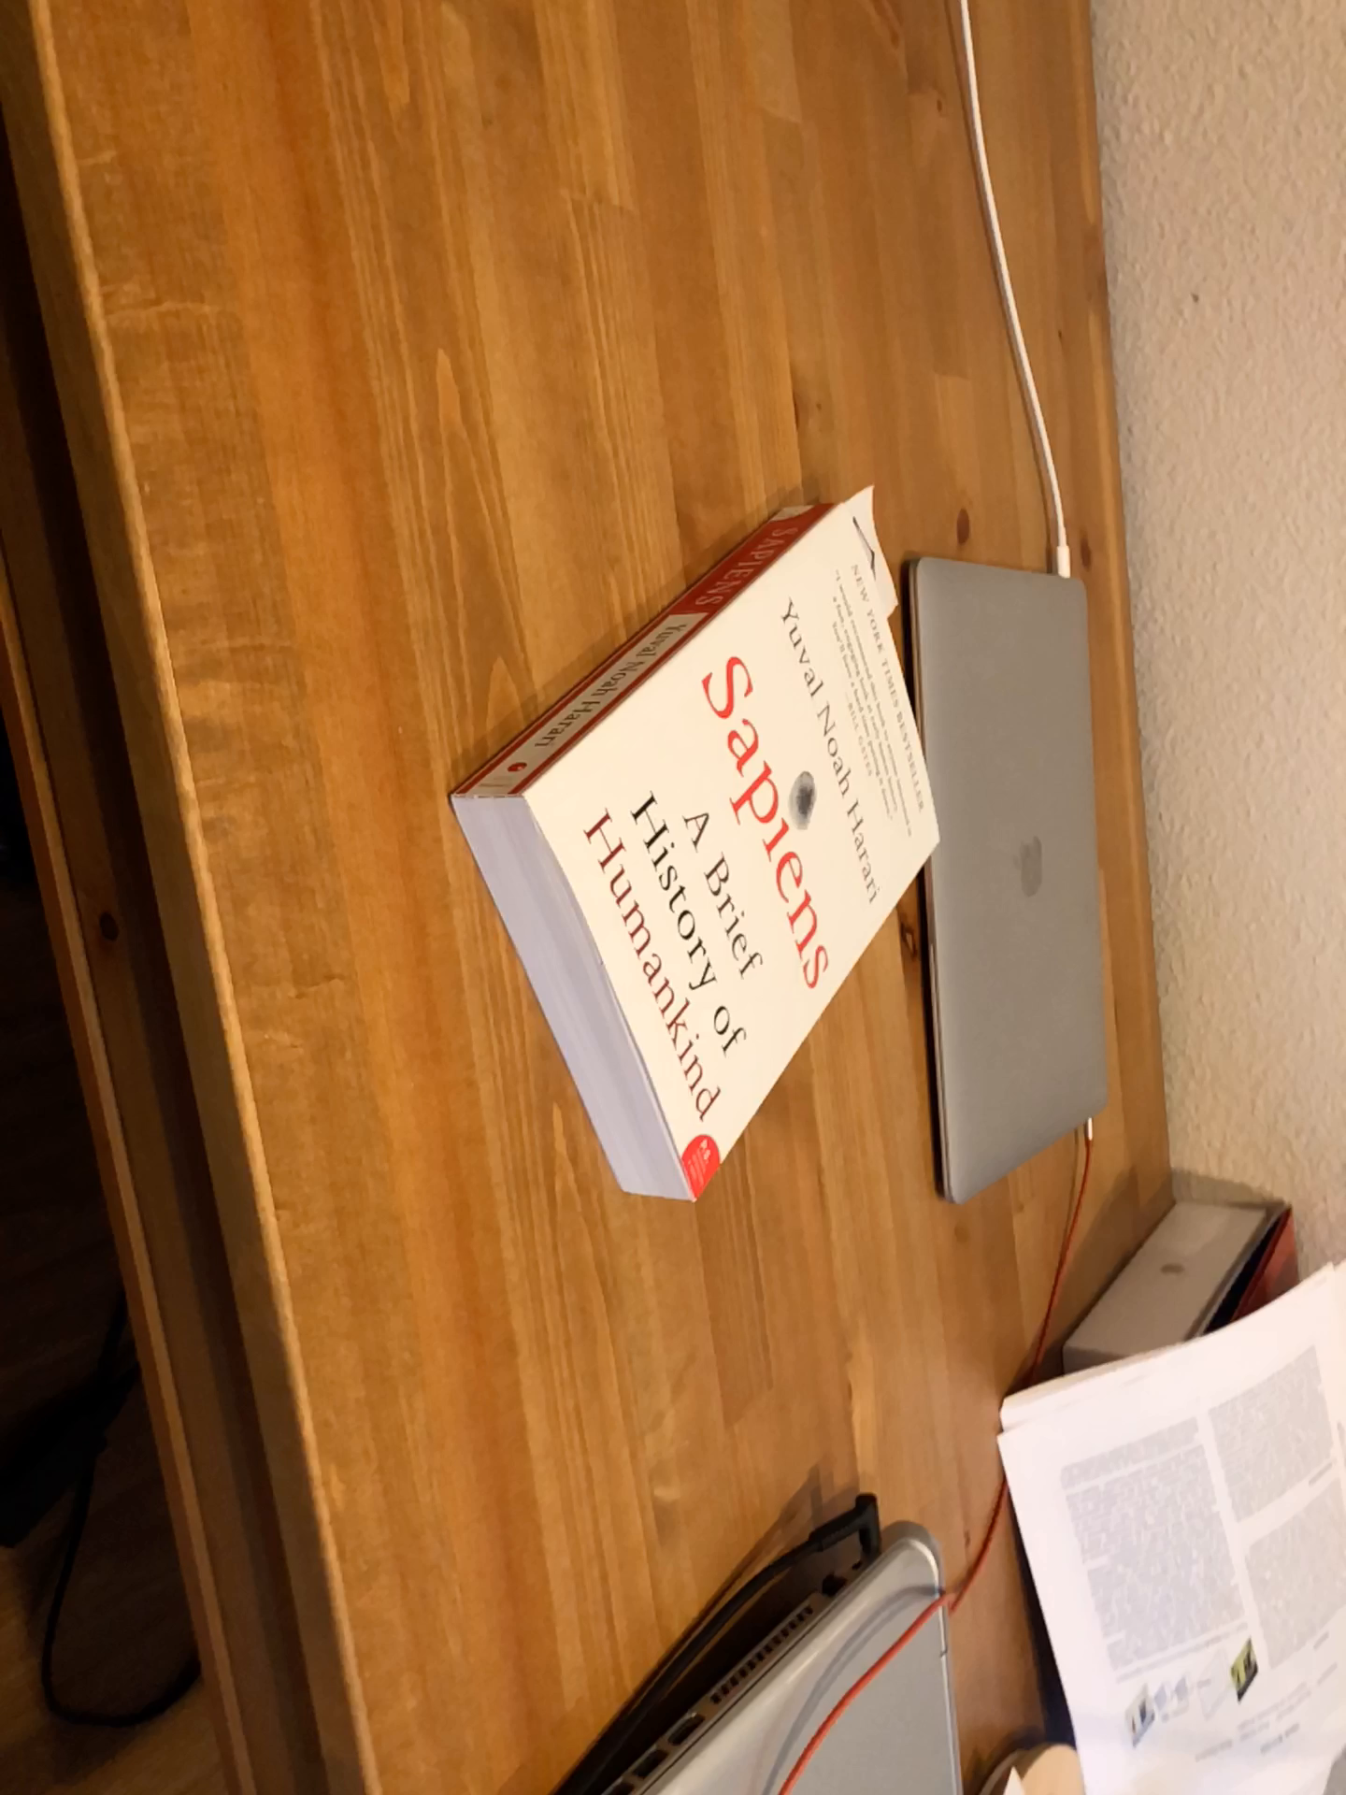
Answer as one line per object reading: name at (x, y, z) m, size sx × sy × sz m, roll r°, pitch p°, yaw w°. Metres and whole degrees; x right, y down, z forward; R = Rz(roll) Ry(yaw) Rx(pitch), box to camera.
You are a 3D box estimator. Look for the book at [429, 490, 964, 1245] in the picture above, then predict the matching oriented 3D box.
book at (0.029, -0.023, 0.559) m, size 0.251 × 0.040 × 0.171 m, roll -49°, pitch 128°, yaw -44°
